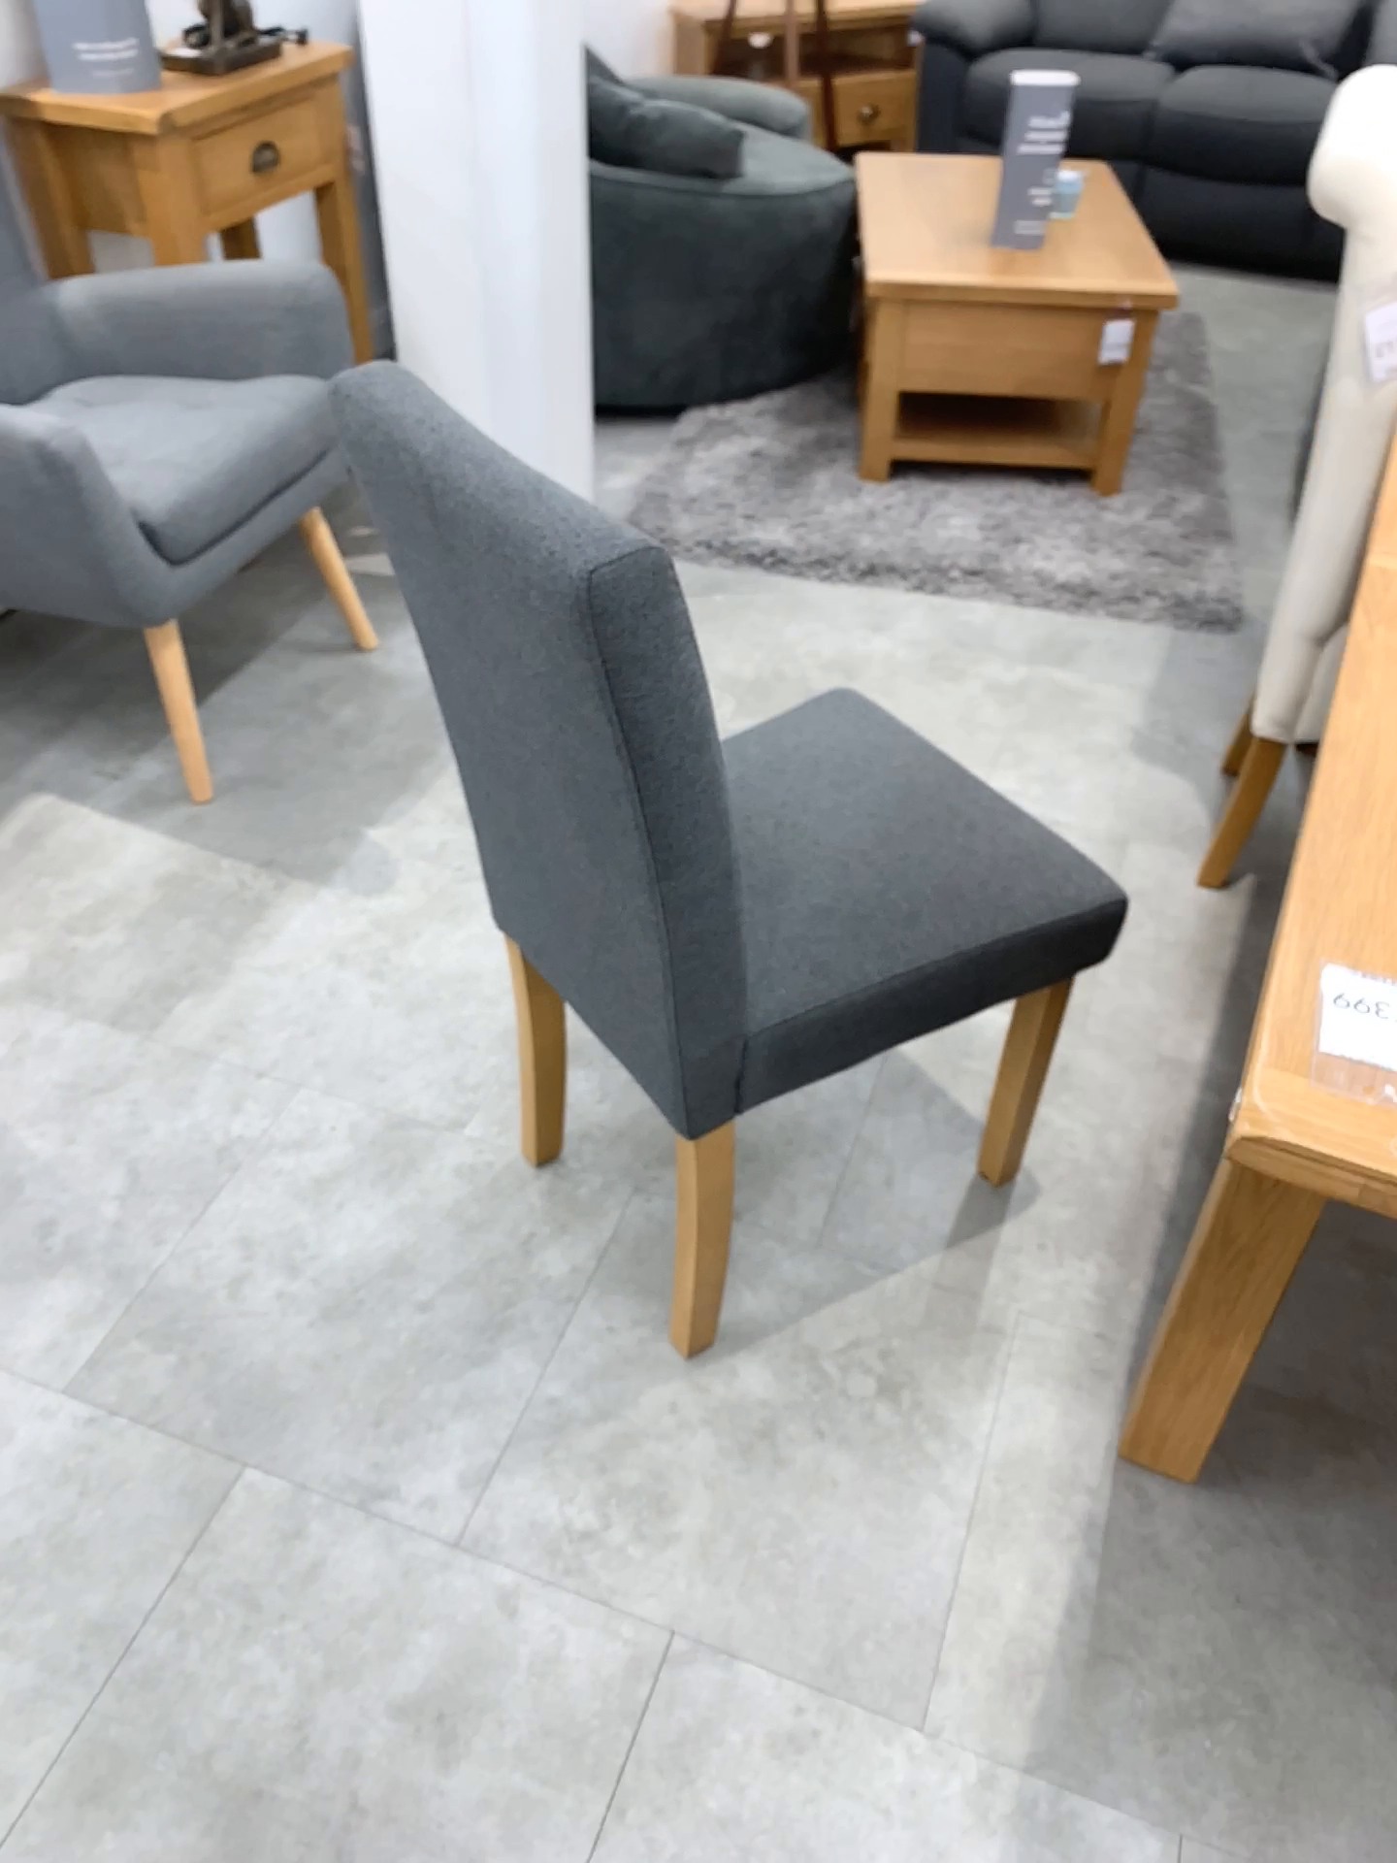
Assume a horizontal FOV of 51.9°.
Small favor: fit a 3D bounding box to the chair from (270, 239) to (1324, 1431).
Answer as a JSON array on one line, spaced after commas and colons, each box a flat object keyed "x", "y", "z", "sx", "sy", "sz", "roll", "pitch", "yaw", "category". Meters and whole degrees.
[{"x": 0.066, "y": -0.093, "z": 1.334, "sx": 0.644, "sy": 0.830, "sz": 0.447, "roll": -24, "pitch": 47, "yaw": -26, "category": "chair"}]

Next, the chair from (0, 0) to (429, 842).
[{"x": -0.817, "y": -0.703, "z": 1.951, "sx": 0.583, "sy": 0.830, "sz": 0.670, "roll": 12, "pitch": 42, "yaw": 12, "category": "chair"}]

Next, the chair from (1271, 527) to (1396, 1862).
[{"x": 0.728, "y": 0.379, "z": 0.775, "sx": 0.505, "sy": 0.899, "sz": 0.627, "roll": 16, "pitch": 43, "yaw": 16, "category": "chair"}]
